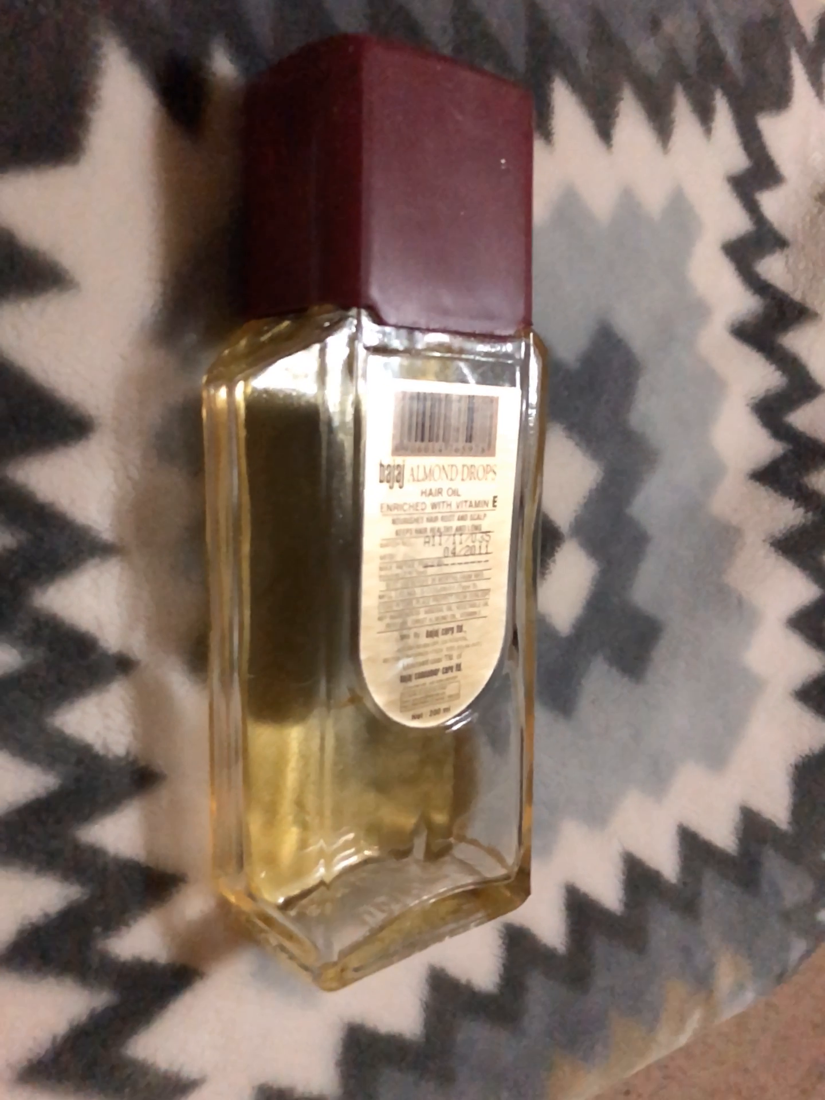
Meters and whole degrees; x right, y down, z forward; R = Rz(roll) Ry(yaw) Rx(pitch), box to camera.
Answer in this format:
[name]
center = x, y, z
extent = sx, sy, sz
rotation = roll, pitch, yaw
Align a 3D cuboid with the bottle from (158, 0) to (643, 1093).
[bottle]
center = 0.003, -0.012, 0.178
extent = 0.080, 0.040, 0.190
rotation = -7, 99, -38
